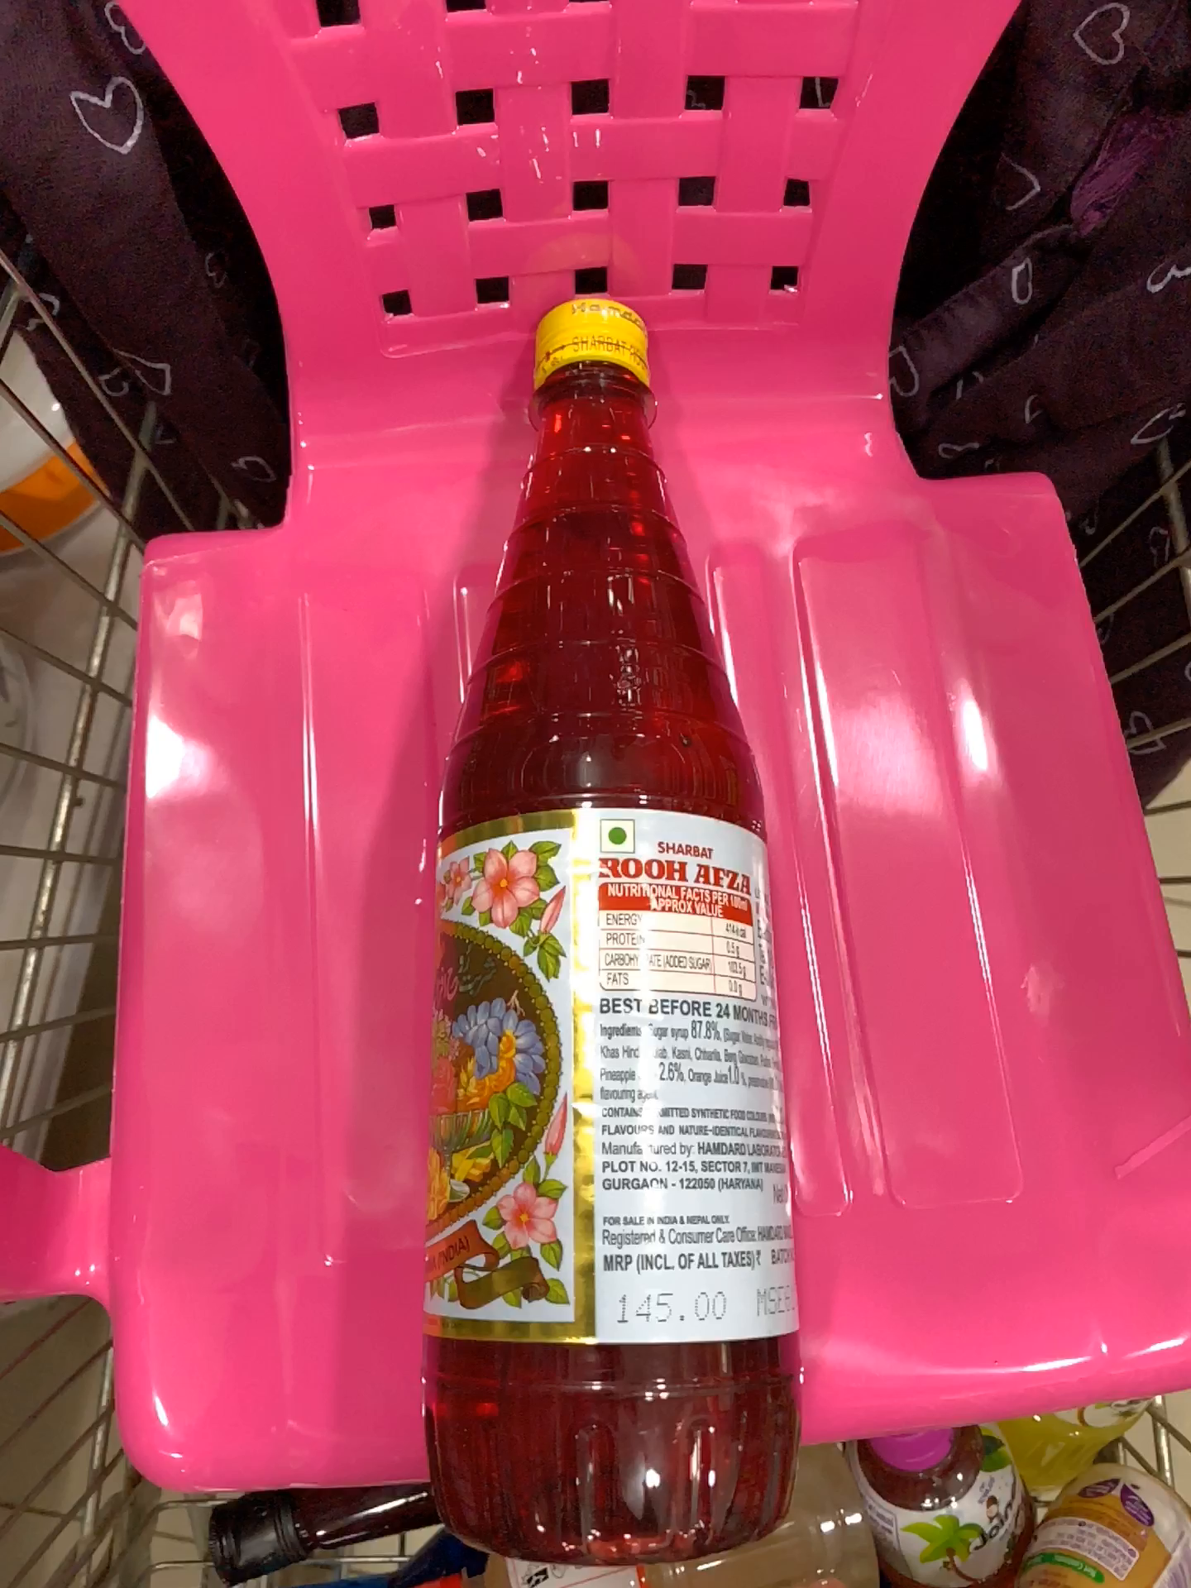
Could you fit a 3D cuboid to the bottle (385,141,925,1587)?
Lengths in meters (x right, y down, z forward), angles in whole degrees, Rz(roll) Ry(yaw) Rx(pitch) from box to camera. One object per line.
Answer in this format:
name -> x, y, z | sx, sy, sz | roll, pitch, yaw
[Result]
bottle -> 0.005, 0.012, 0.245 | 0.080, 0.060, 0.260 | 3, 77, -17
